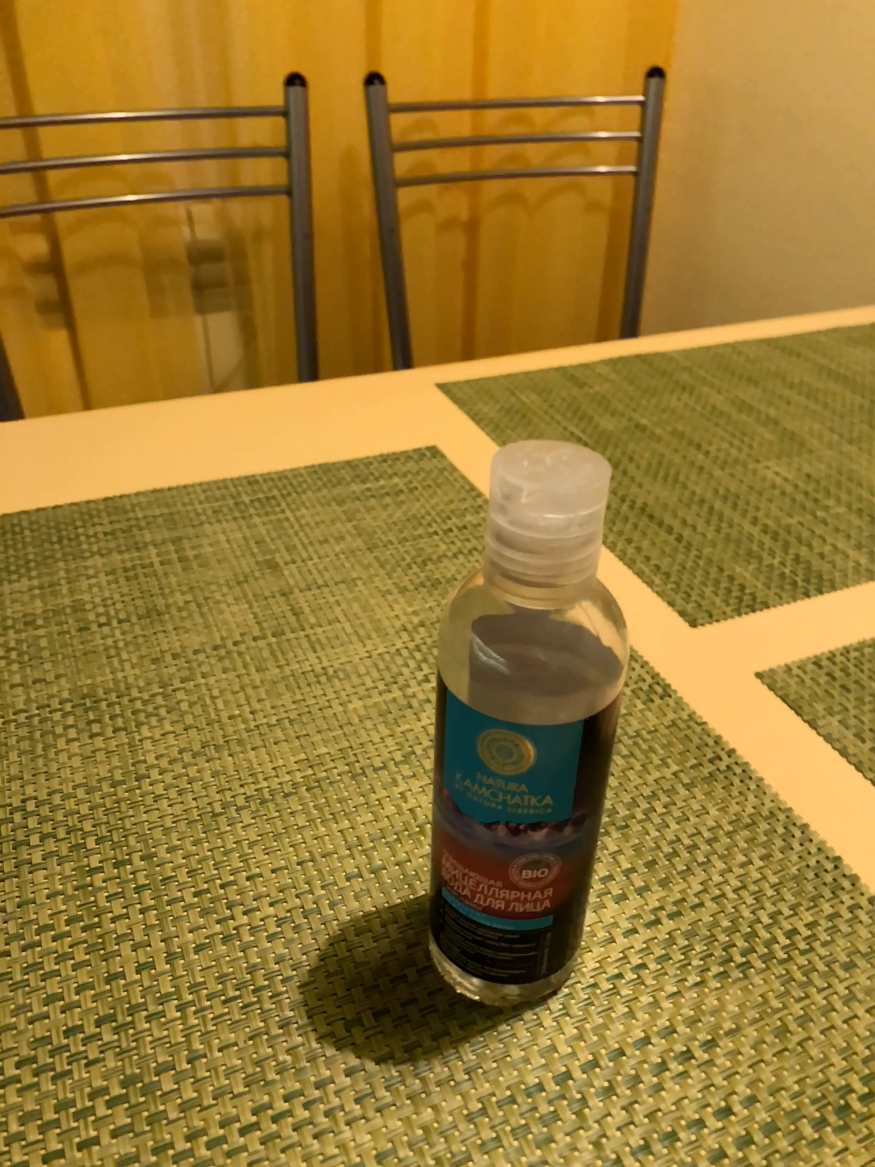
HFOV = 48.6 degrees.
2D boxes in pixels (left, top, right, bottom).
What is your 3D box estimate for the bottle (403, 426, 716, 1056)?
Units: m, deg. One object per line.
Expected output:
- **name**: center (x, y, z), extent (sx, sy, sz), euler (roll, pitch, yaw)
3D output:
- **bottle**: center (0.026, 0.044, 0.245), extent (0.050, 0.149, 0.054), euler (2, 34, -1)
